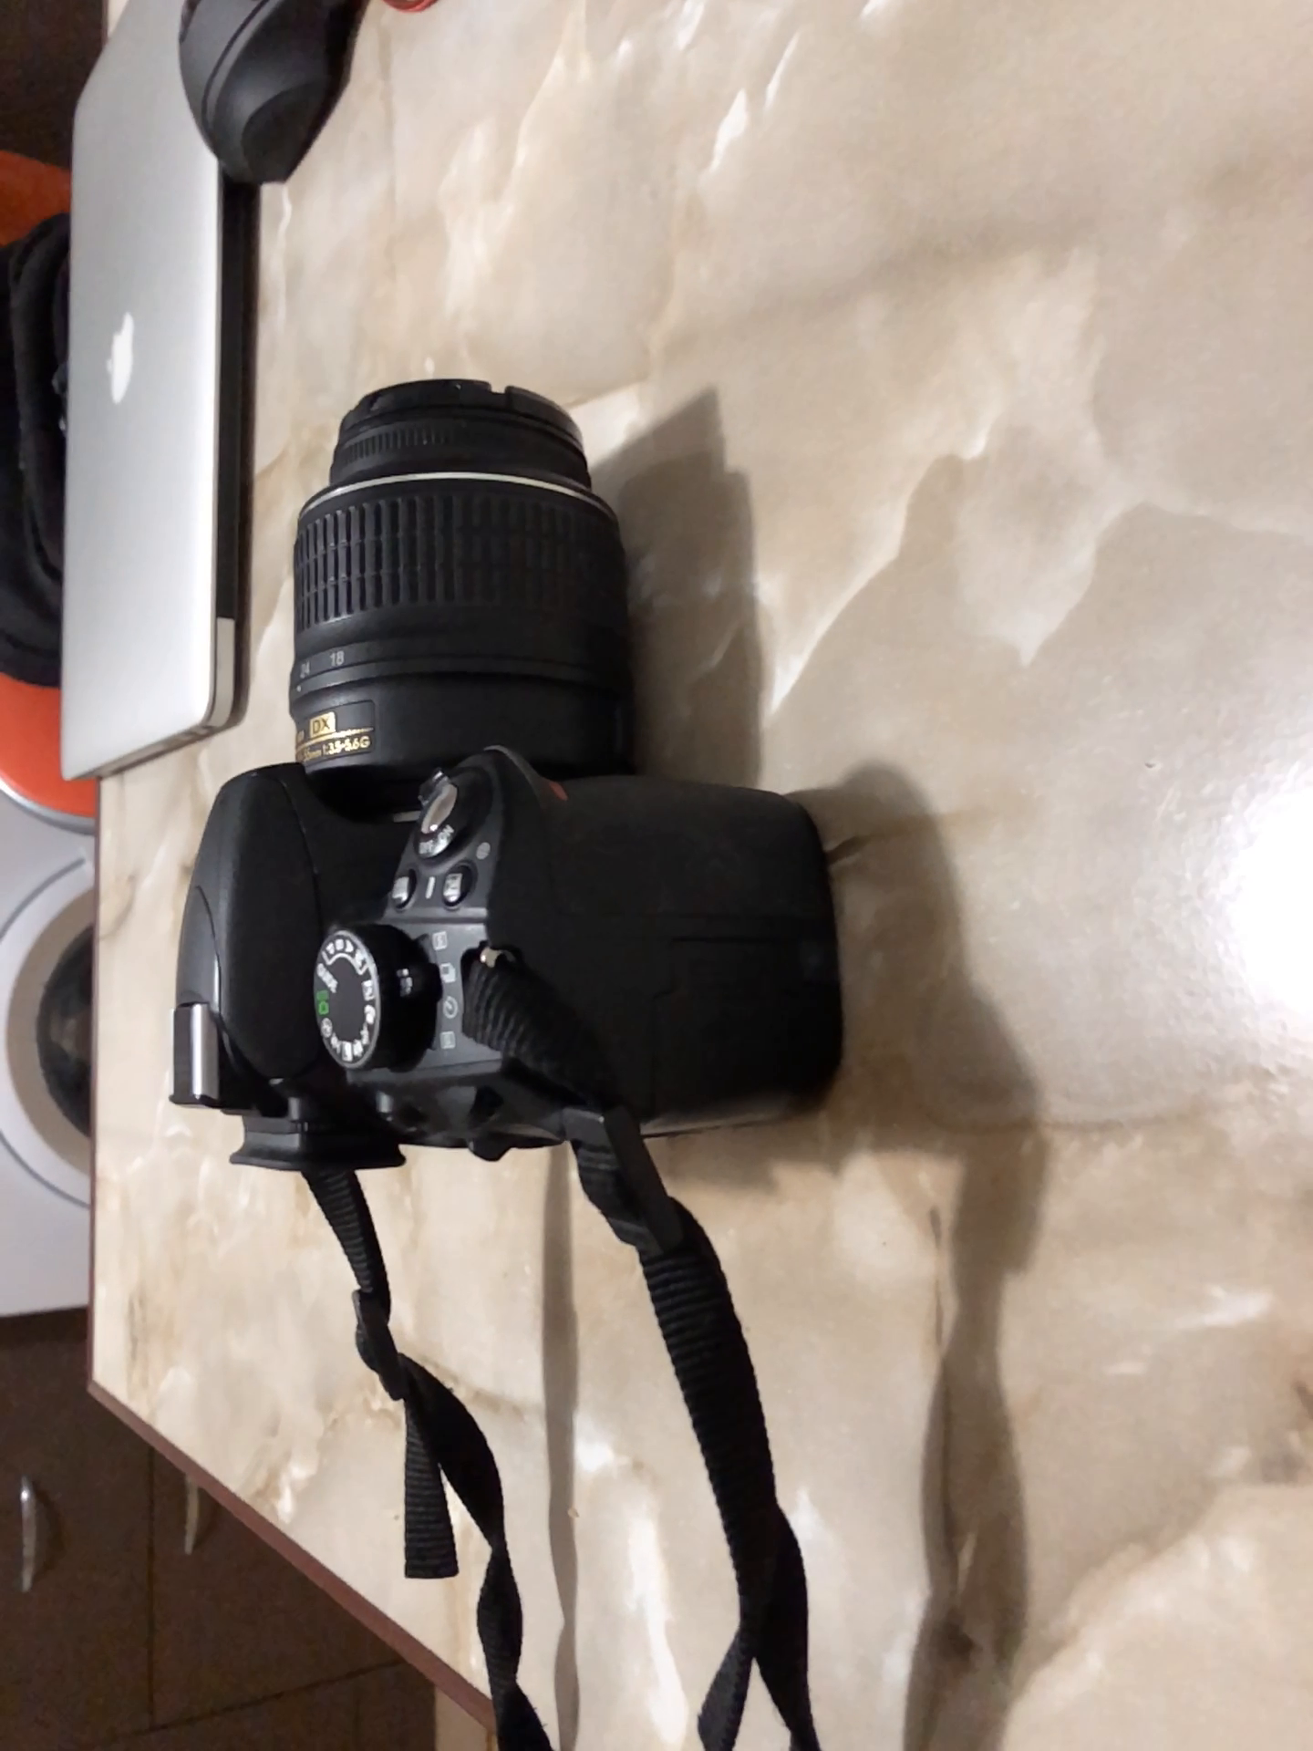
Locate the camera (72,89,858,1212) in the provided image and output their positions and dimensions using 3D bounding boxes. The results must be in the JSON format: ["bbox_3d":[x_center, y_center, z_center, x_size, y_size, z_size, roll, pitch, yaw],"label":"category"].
[{"bbox_3d":[-0.046,-0.025,0.280,0.126,0.099,0.160,-13,77,56],"label":"camera"}]
